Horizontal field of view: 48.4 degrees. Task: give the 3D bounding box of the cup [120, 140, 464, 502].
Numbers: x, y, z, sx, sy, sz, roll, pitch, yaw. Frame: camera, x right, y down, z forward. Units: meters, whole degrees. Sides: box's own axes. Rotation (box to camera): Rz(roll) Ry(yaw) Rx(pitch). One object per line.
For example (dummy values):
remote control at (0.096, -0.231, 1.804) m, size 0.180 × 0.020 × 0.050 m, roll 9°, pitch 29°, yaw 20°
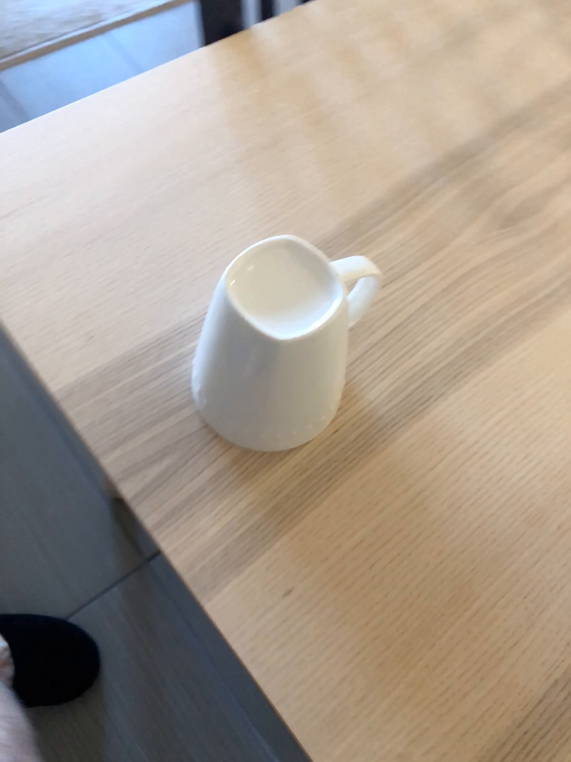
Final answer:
cup at (0.002, -0.031, 0.364) m, size 0.100 × 0.120 × 0.140 m, roll 43°, pitch 67°, yaw 15°
